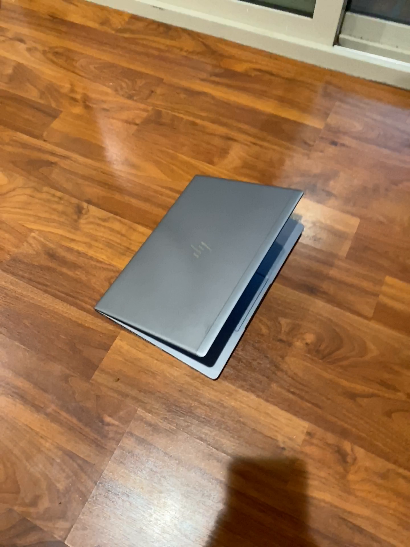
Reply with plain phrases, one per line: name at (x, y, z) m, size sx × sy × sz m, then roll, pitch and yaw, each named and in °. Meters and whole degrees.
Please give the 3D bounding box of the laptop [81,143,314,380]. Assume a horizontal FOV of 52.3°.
laptop at (-0.002, -0.035, 0.688) m, size 0.230 × 0.078 × 0.325 m, roll 28°, pitch 67°, yaw 14°
